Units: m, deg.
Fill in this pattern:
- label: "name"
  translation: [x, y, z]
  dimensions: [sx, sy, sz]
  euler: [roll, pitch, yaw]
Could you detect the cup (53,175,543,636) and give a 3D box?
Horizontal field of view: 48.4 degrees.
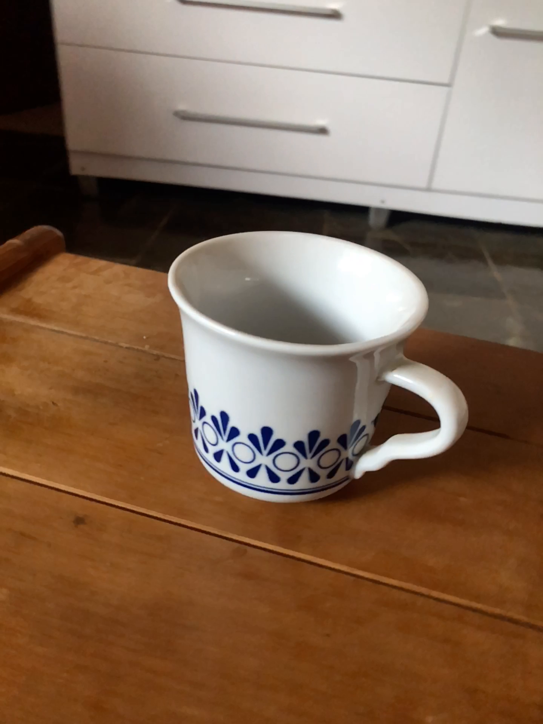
- label: "cup"
  translation: [0.010, -0.002, 0.214]
  dimensions: [0.130, 0.079, 0.101]
  euler: [27, 39, 29]
